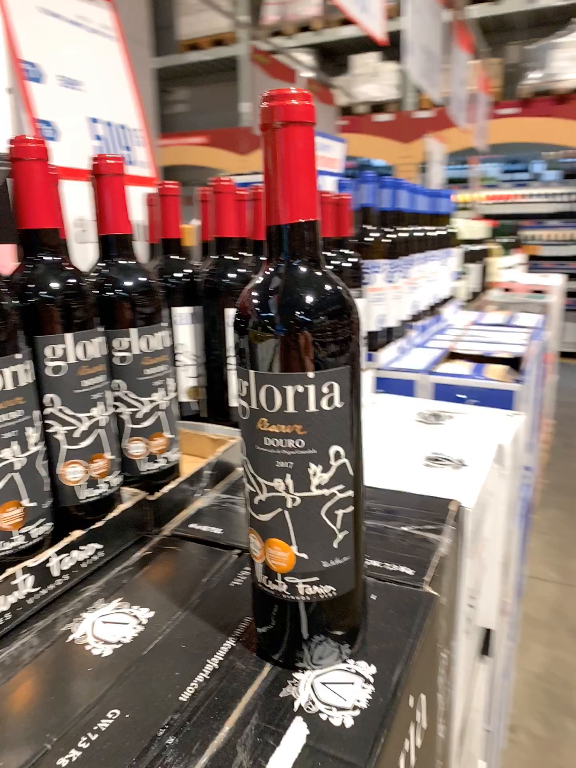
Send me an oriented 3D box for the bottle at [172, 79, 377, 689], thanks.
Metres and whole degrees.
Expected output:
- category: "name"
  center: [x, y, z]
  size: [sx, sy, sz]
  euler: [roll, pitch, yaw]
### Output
- category: "bottle"
  center: [0.000, 0.008, 0.351]
  size: [0.090, 0.319, 0.080]
  euler: [2, 14, 14]
